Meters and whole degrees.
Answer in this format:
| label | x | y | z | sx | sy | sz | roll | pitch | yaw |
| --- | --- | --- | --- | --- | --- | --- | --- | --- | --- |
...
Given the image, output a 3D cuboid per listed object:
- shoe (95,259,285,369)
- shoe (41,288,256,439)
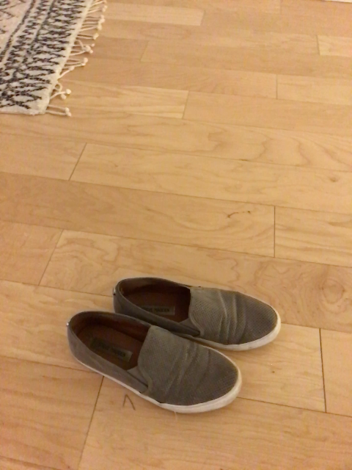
| label | x | y | z | sx | sy | sz | roll | pitch | yaw |
| --- | --- | --- | --- | --- | --- | --- | --- | --- | --- |
| shoe | 0.026 | 0.122 | 0.613 | 0.280 | 0.050 | 0.111 | 10 | 53 | 8 |
| shoe | -0.037 | 0.180 | 0.562 | 0.280 | 0.050 | 0.121 | 15 | 54 | 12 |
